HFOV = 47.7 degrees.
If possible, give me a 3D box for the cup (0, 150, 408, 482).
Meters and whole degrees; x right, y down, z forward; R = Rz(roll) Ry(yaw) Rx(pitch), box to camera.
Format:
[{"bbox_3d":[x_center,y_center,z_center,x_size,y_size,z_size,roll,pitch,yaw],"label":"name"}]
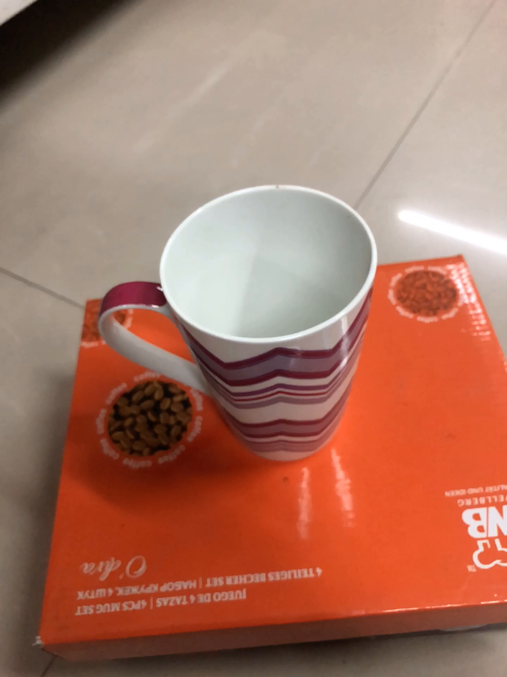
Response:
[{"bbox_3d":[-0.011,-0.003,0.248,0.130,0.109,0.090,-2,54,6],"label":"cup"}]
